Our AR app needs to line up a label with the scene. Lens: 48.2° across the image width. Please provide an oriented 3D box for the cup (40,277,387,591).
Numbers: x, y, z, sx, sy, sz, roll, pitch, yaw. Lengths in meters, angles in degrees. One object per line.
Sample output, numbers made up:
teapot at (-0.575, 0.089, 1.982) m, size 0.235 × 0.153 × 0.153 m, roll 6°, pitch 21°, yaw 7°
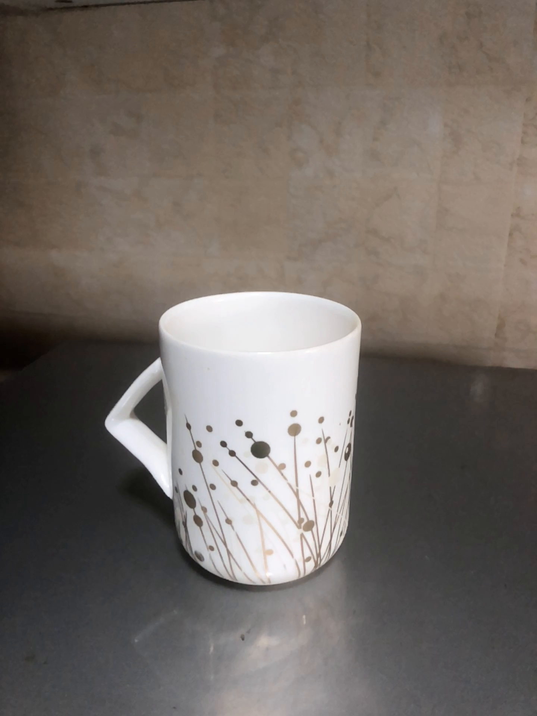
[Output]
cup at (-0.017, 0.026, 0.244) m, size 0.110 × 0.099 × 0.080 m, roll 0°, pitch 21°, yaw 0°
